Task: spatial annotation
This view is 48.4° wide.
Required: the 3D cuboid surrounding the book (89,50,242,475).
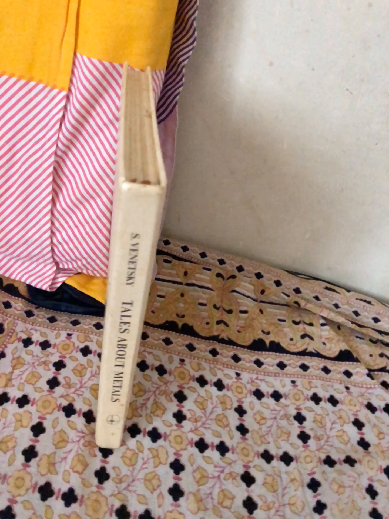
[{"bbox_3d":[-0.040,0.000,0.324,0.050,0.249,0.191,5,34,-12],"label":"book"}]
